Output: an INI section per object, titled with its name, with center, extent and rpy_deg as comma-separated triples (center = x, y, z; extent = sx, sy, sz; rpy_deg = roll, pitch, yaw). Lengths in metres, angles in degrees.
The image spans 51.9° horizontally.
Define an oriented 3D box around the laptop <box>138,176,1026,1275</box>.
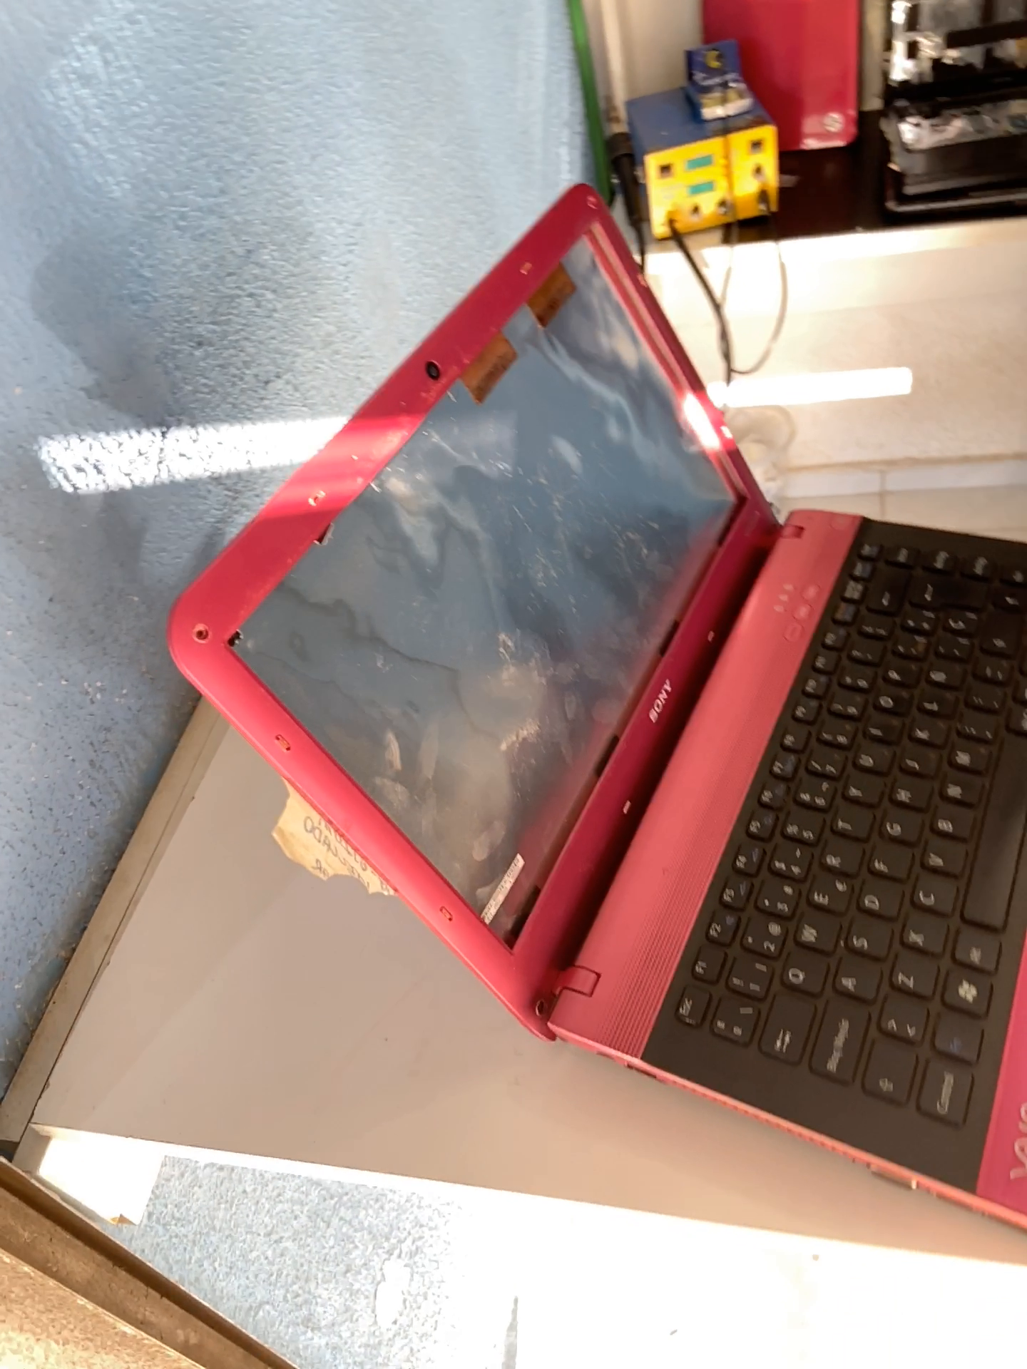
[laptop]
center = 0.122, -0.037, 0.427
extent = 0.339, 0.187, 0.332
rpy_deg = 14, 51, 26
